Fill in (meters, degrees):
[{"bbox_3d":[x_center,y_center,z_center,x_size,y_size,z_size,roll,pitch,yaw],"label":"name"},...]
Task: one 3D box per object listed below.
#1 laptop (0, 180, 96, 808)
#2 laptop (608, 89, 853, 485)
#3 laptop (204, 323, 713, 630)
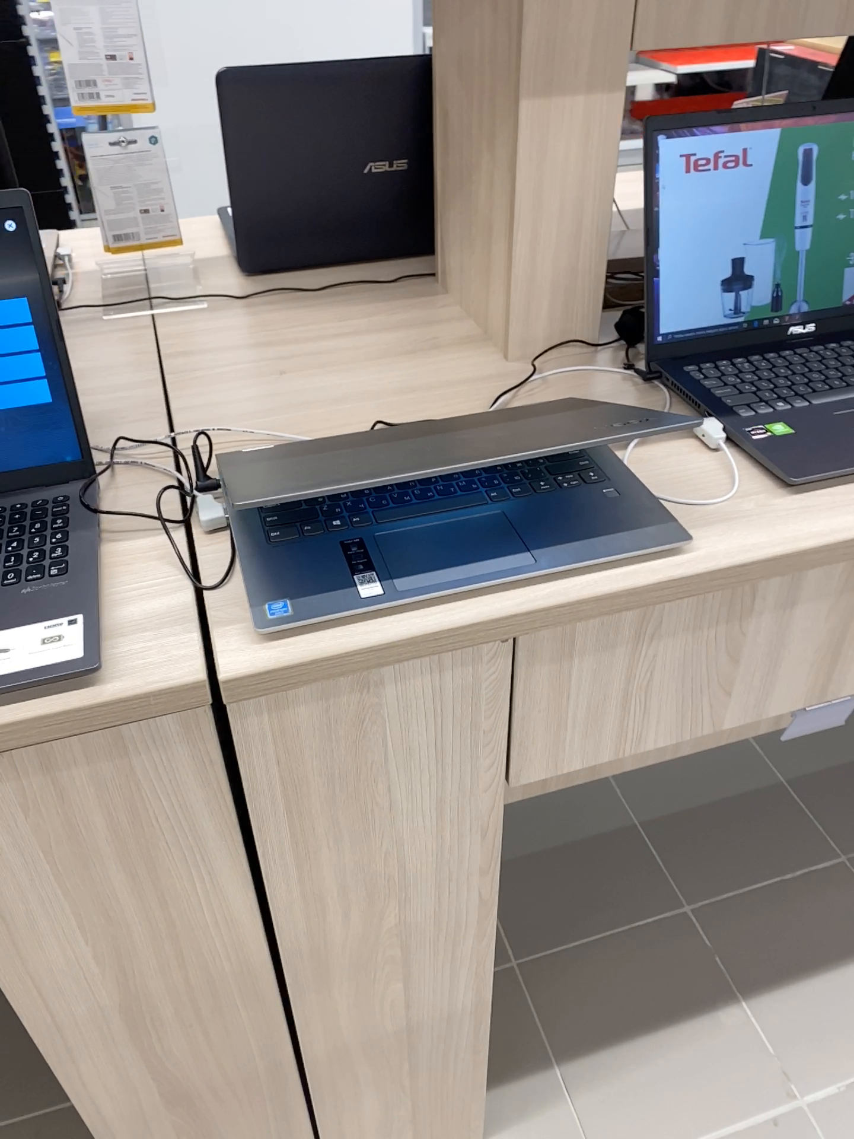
[{"bbox_3d":[-0.419,-0.083,0.550,0.352,0.212,0.309,-11,38,-13],"label":"laptop"},{"bbox_3d":[0.430,-0.282,0.801,0.389,0.215,0.304,-12,40,-16],"label":"laptop"},{"bbox_3d":[0.010,-0.088,0.667,0.325,0.082,0.219,-11,39,-13],"label":"laptop"}]
